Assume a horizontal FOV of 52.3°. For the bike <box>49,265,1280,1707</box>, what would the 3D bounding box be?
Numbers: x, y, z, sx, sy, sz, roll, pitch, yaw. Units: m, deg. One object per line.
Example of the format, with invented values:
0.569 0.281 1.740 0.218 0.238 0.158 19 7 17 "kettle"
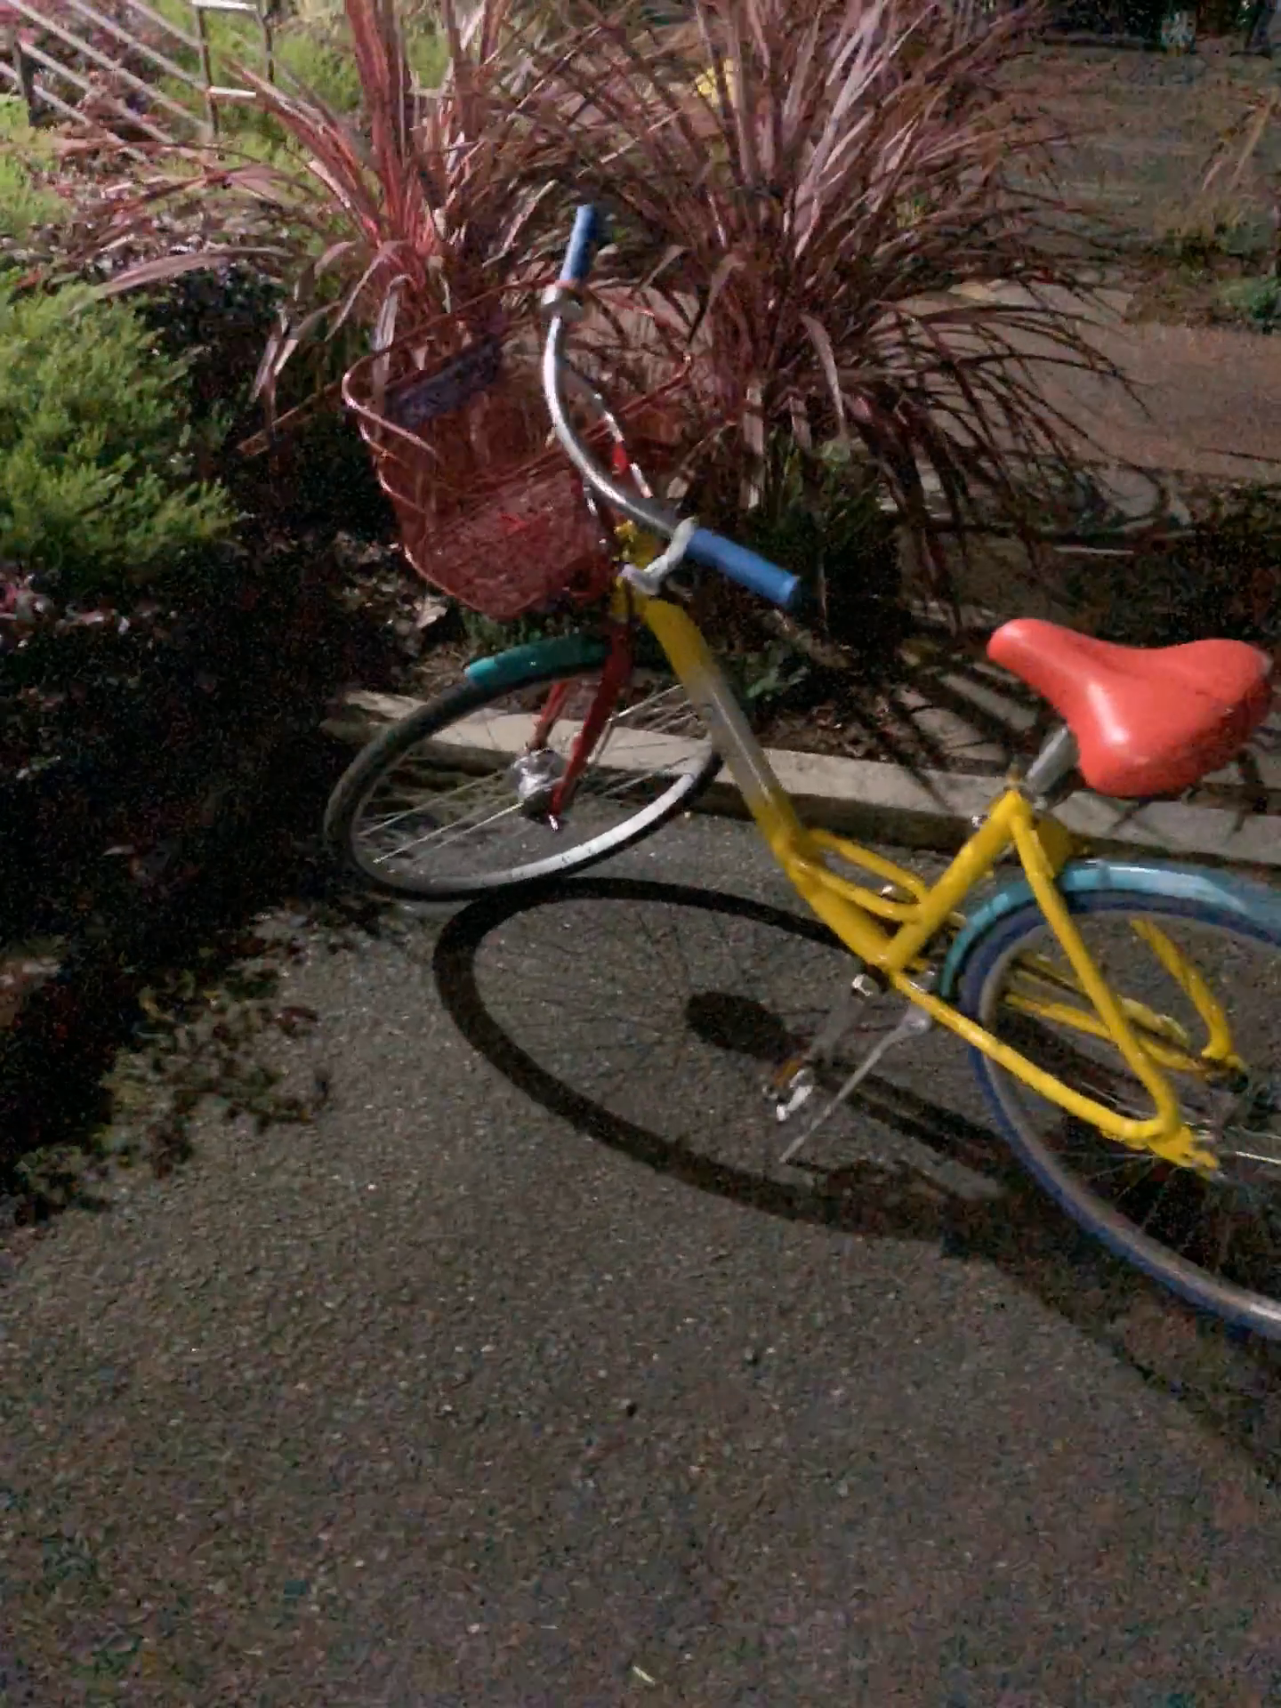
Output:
0.197 0.021 1.495 1.586 1.085 0.602 20 39 27 "bike"
